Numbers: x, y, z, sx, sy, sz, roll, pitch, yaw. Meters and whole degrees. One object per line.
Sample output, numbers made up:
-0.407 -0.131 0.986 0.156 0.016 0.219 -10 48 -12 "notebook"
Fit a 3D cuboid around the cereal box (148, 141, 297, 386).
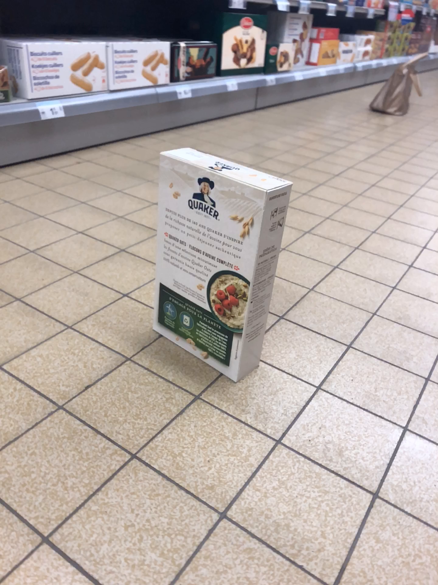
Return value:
-0.008 -0.032 0.538 0.150 0.229 0.050 27 36 32 "cereal box"
